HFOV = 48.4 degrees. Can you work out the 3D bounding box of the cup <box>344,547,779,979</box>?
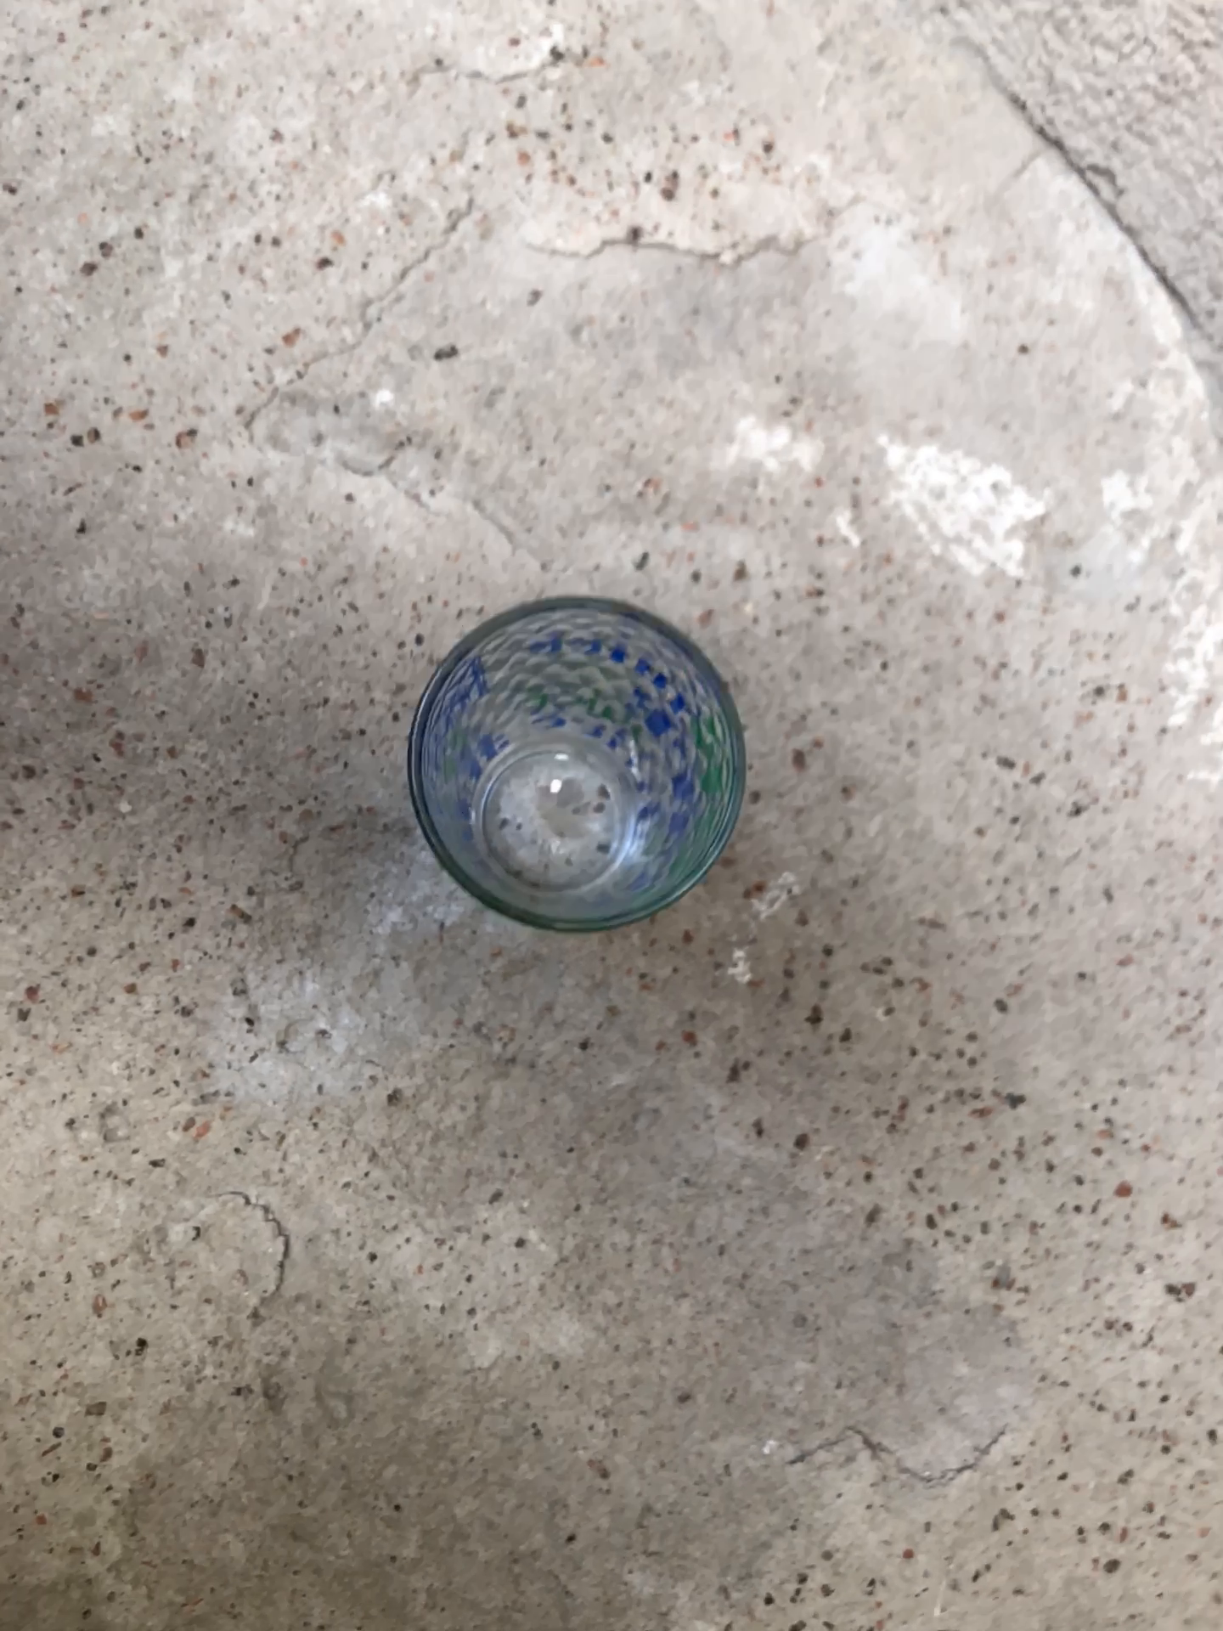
[{"bbox_3d":[-0.015,-0.005,0.312,0.067,0.126,0.066,1,85,-7],"label":"cup"}]
